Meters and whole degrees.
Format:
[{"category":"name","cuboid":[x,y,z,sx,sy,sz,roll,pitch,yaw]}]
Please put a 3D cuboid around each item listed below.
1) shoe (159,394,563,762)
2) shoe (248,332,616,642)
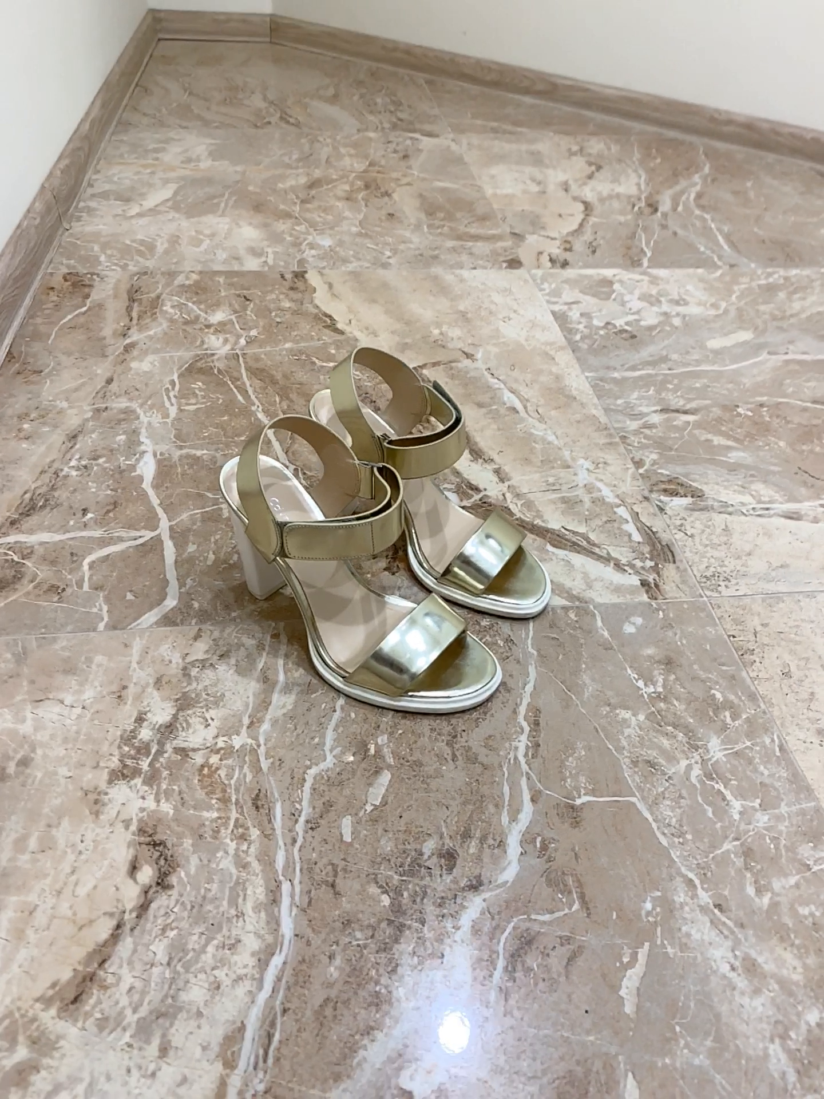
[{"category":"shoe","cuboid":[-0.035,0.011,0.536,0.220,0.129,0.096,23,44,21]},{"category":"shoe","cuboid":[0.009,-0.052,0.610,0.230,0.119,0.100,23,44,21]}]
